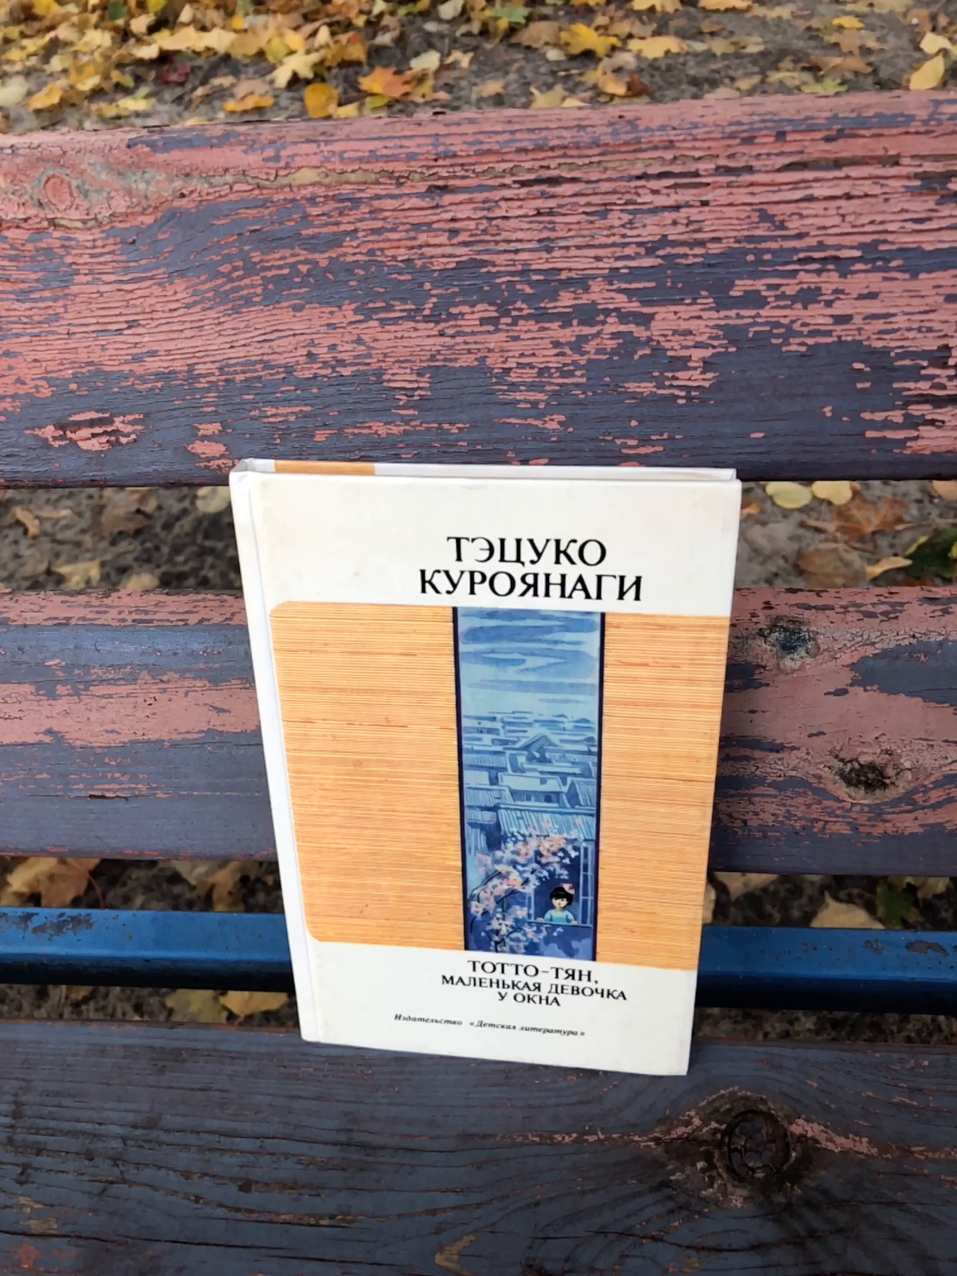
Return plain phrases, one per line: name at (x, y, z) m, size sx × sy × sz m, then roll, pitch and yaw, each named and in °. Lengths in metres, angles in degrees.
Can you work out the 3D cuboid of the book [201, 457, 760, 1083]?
book at (0.000, 0.048, 0.305) m, size 0.134 × 0.198 × 0.016 m, roll 2°, pitch 27°, yaw 4°
